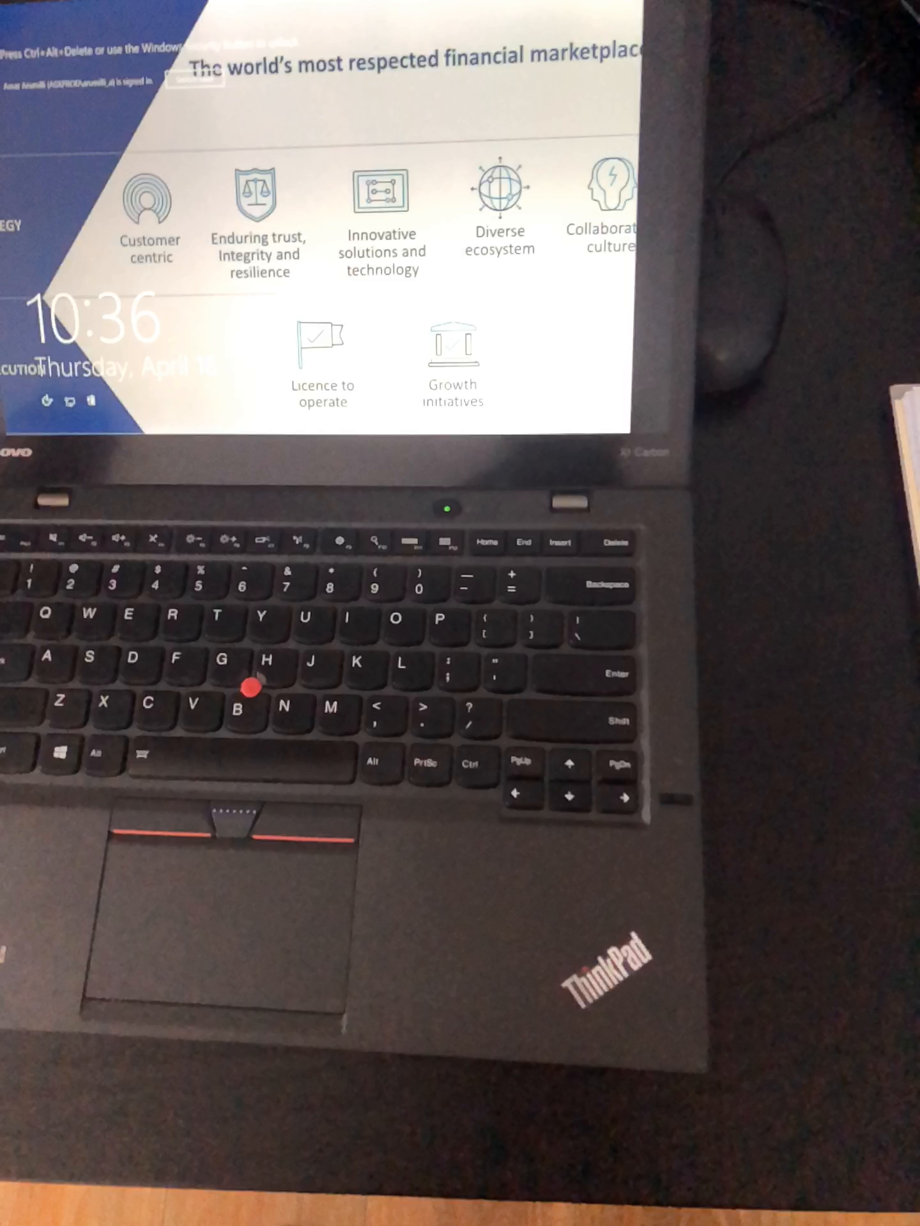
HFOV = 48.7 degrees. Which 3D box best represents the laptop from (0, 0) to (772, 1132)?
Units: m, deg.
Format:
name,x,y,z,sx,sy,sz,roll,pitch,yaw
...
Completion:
name,x,y,z,sx,sy,sz,roll,pitch,yaw
laptop,-0.072,-0.049,0.369,0.322,0.117,0.388,1,72,6
